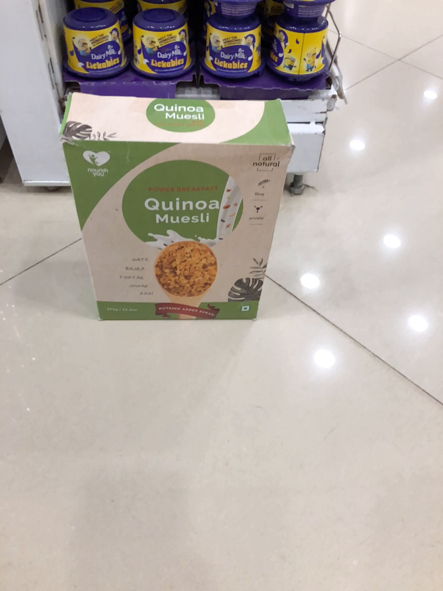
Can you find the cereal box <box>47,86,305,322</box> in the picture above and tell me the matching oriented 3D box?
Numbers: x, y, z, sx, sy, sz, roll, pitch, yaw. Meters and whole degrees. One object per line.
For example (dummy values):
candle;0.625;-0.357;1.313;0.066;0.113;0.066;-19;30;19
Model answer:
cereal box;-0.034;-0.060;0.397;0.160;0.189;0.060;0;50;-5
